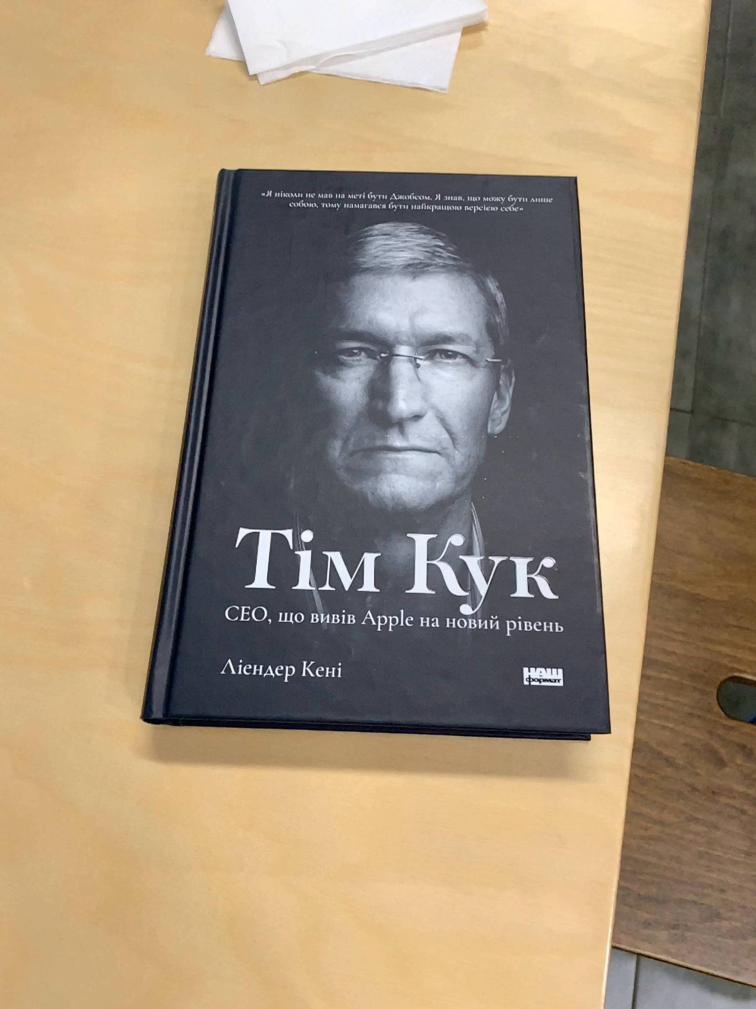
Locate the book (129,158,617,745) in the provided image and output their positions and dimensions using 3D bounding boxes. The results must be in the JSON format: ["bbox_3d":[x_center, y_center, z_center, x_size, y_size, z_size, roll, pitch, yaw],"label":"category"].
[{"bbox_3d":[0.003,-0.030,0.287,0.144,0.034,0.217,2,68,2],"label":"book"}]
